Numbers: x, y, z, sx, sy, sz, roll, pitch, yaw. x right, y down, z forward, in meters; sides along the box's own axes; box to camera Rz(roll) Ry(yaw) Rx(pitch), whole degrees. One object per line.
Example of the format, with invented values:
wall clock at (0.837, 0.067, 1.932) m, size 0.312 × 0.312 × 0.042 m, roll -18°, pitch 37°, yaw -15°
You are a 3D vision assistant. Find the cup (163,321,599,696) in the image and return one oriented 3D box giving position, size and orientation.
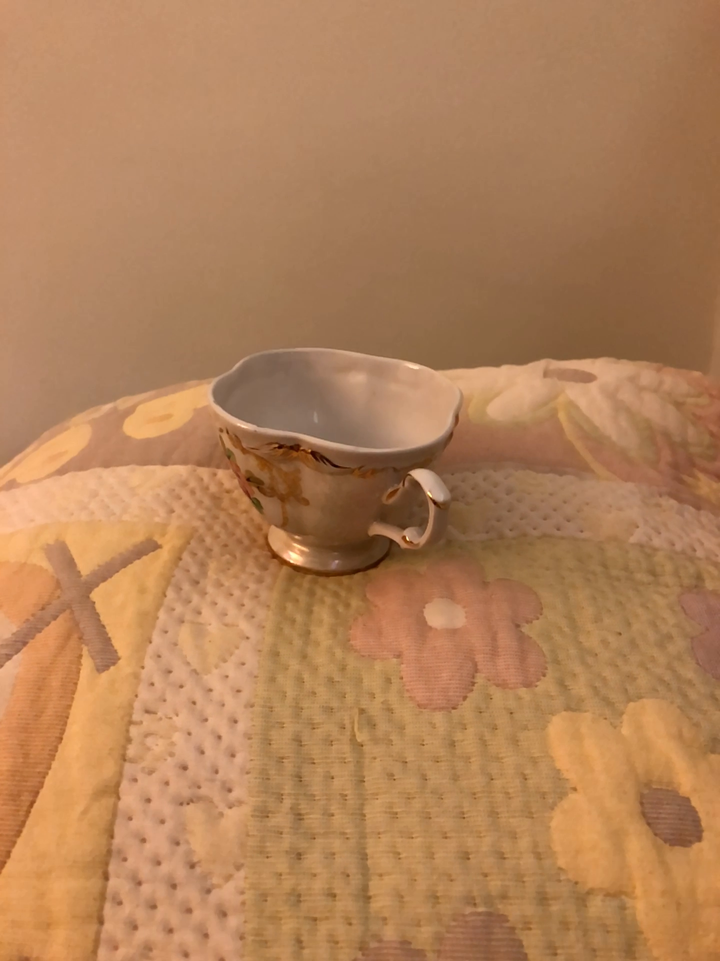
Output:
cup at (-0.002, -0.004, 0.308) m, size 0.100 × 0.070 × 0.141 m, roll -13°, pitch 32°, yaw -30°
